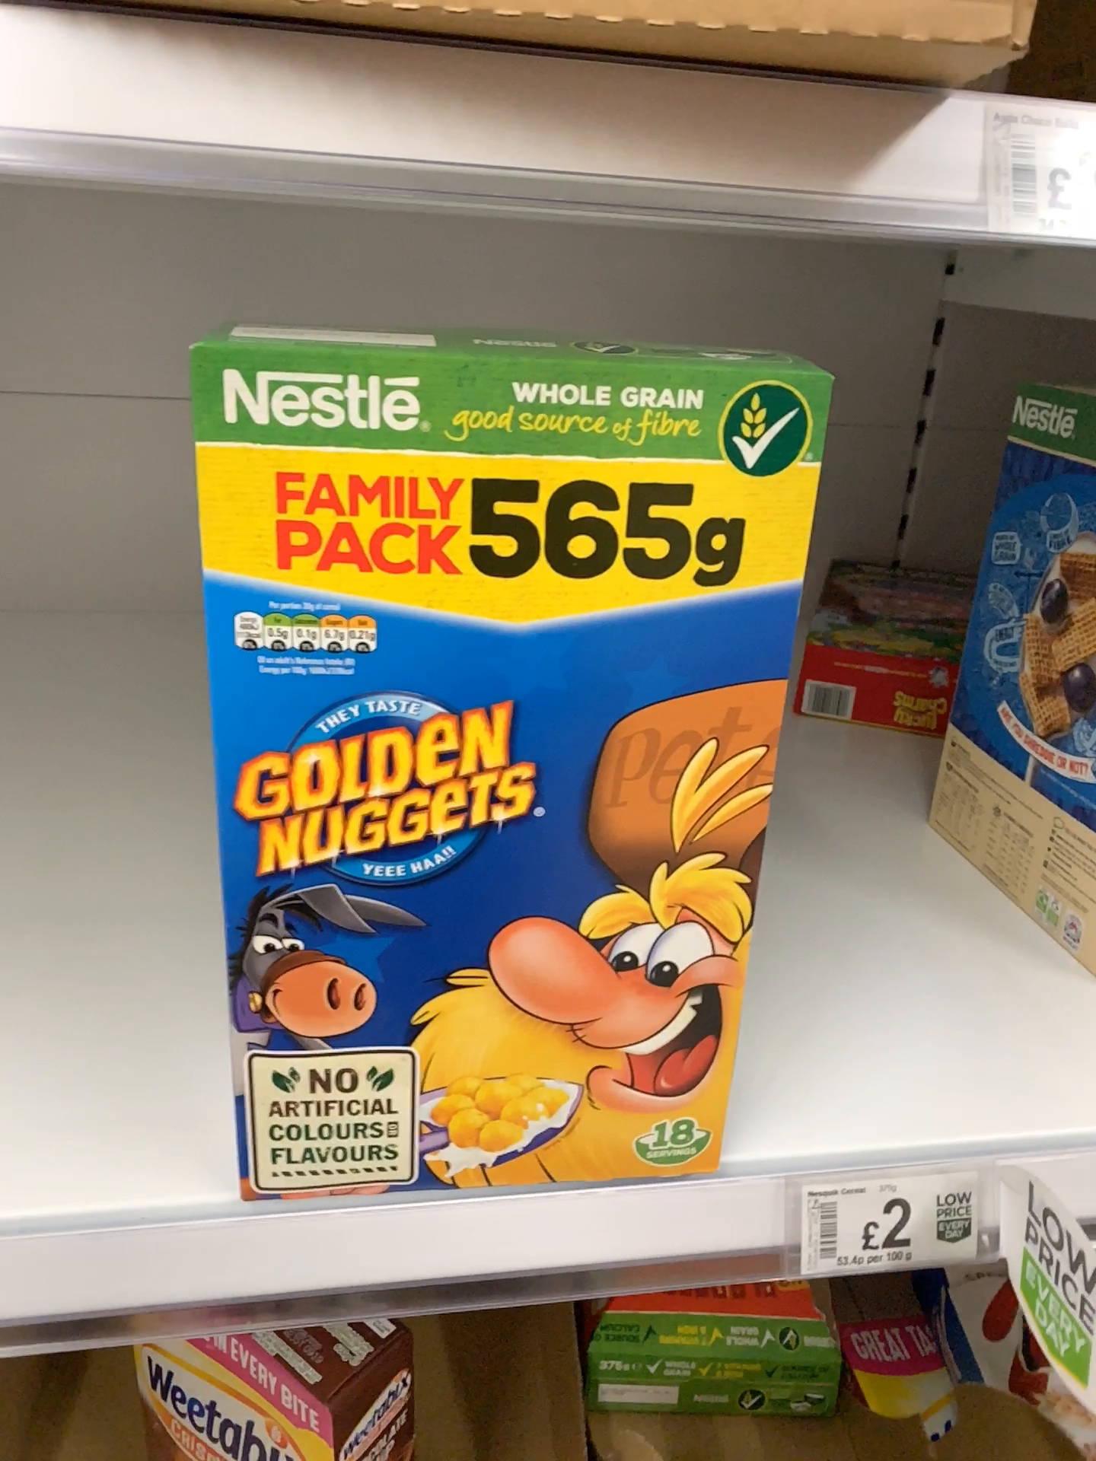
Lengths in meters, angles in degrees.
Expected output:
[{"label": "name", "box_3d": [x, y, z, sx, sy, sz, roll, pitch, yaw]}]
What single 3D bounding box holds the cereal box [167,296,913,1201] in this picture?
[{"label": "cereal box", "box_3d": [-0.013, 0.014, 0.414, 0.210, 0.308, 0.091, 0, 23, -9]}]
